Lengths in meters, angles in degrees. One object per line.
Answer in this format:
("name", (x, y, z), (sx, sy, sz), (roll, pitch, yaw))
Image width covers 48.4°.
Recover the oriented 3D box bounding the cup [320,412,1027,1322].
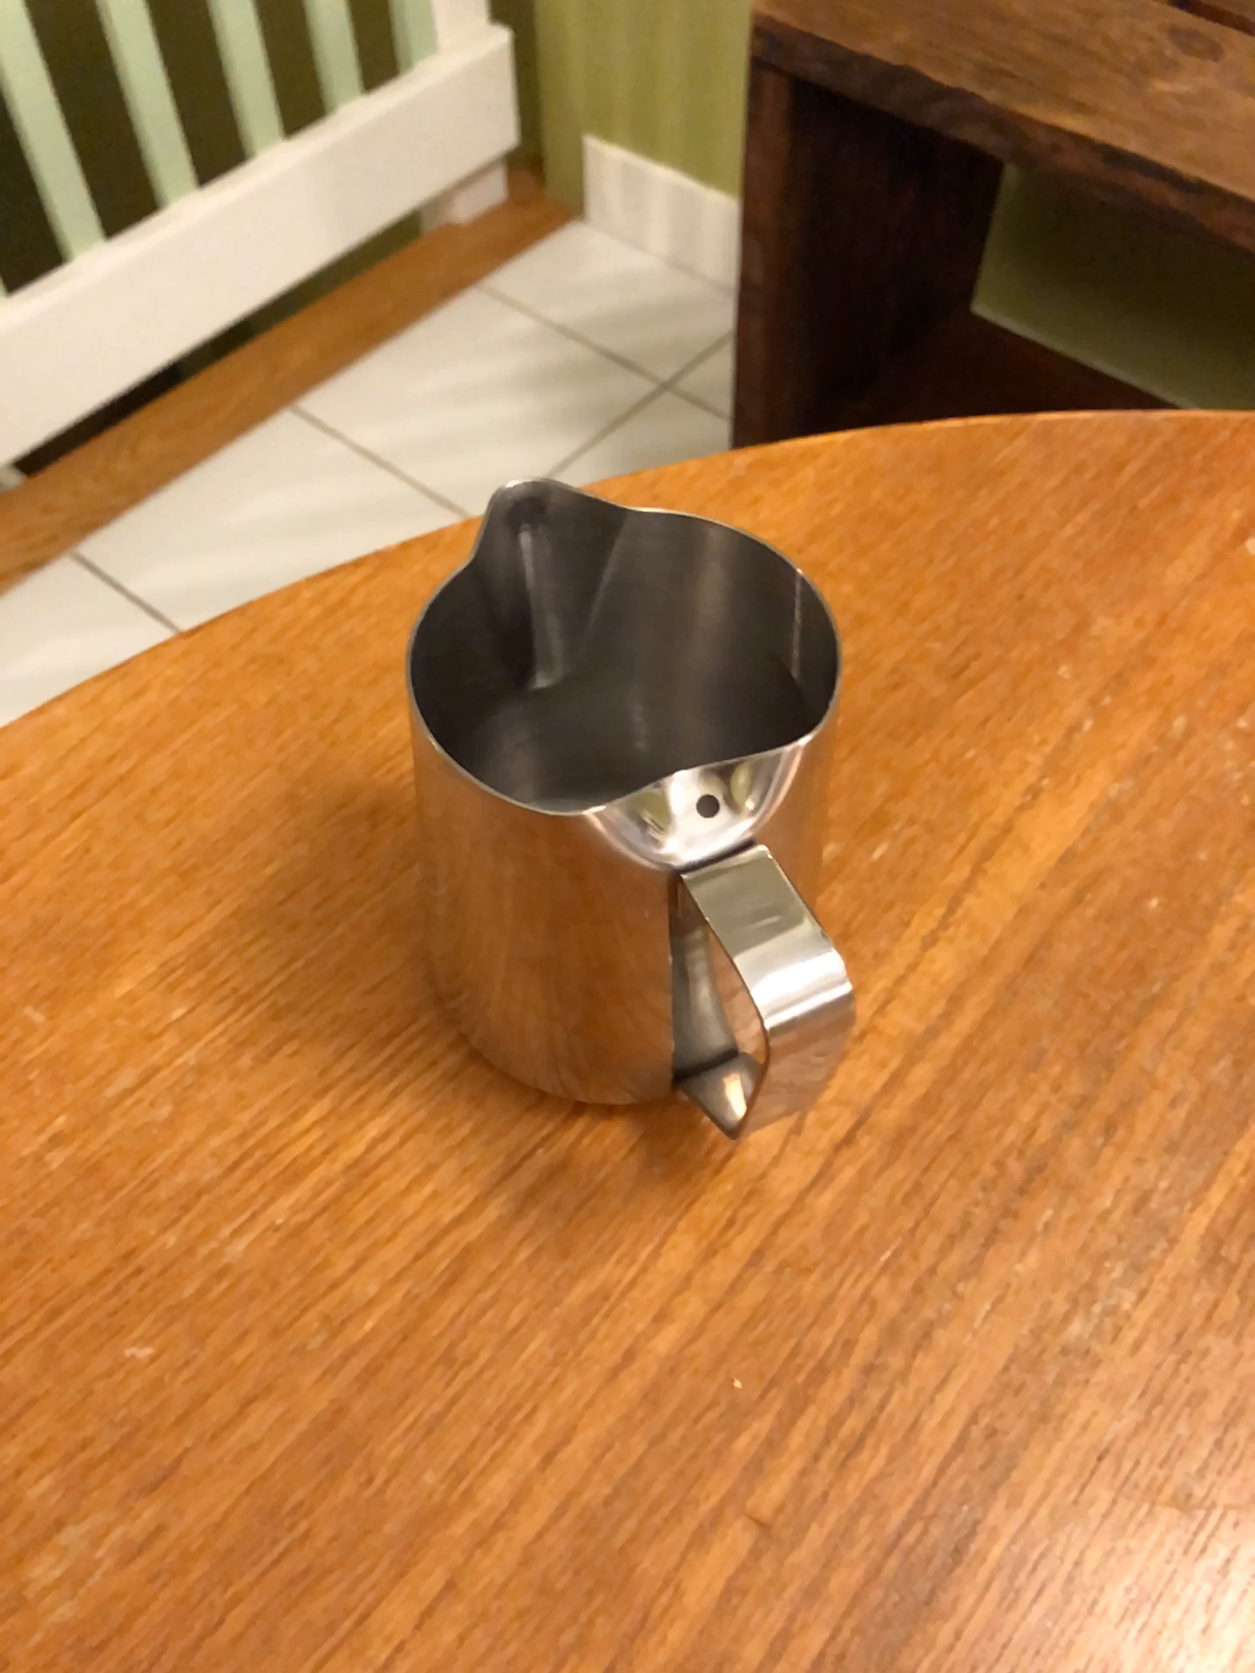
("cup", (0.002, 0.007, 0.296), (0.082, 0.115, 0.136), (-17, 57, -11))
